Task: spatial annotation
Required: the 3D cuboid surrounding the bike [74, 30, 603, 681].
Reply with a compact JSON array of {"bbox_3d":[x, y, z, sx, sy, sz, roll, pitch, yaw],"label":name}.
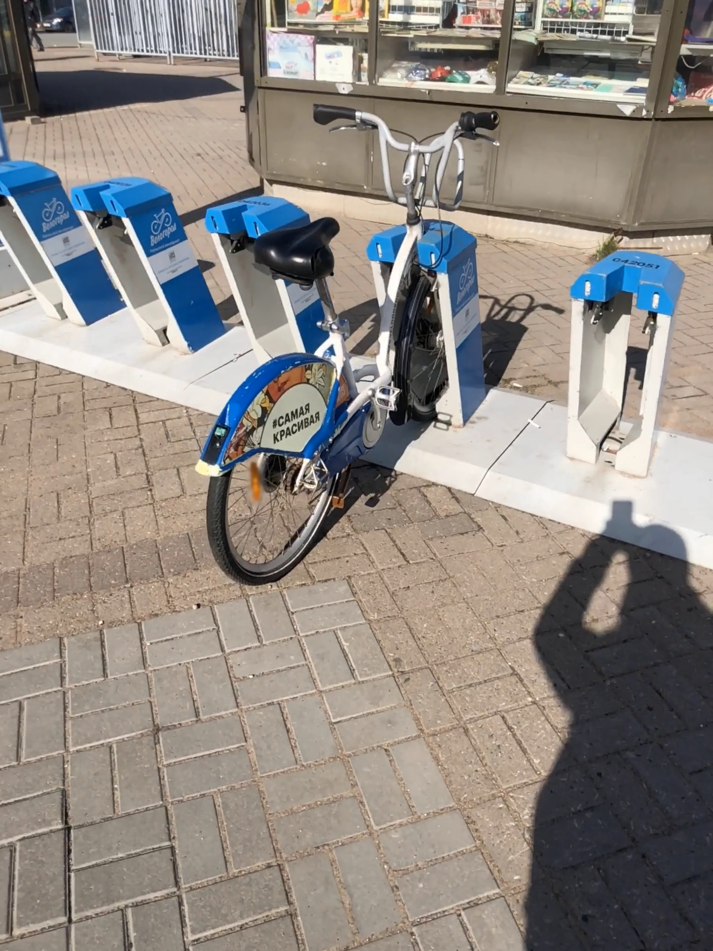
[{"bbox_3d":[0.091,-0.516,2.316,0.596,1.203,1.634,17,38,25],"label":"bike"}]
